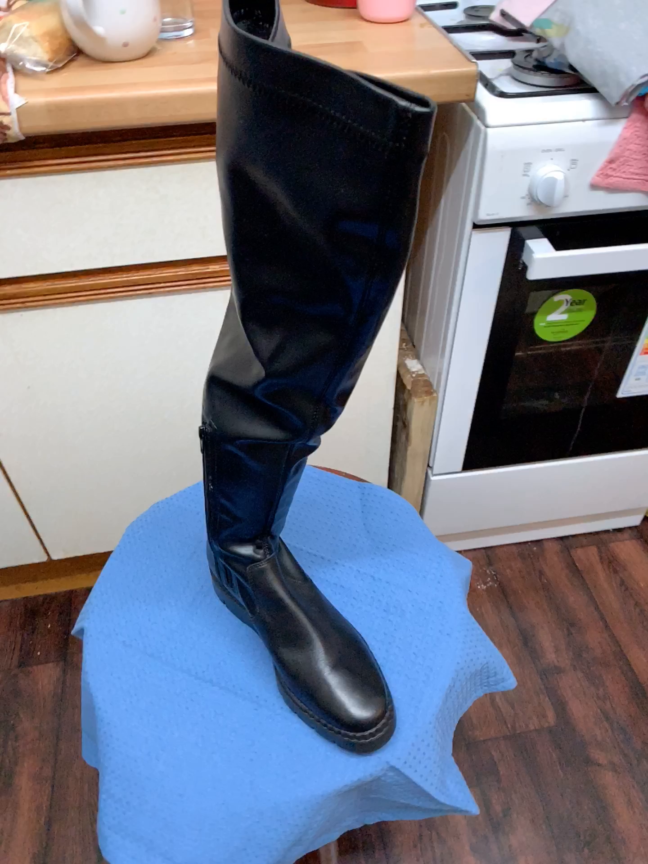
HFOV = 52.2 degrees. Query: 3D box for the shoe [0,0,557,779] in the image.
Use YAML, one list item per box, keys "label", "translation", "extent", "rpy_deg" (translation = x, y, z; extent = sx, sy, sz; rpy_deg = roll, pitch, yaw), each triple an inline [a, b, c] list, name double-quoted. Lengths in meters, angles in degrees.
- label: "shoe"
  translation: [-0.037, 0.004, 0.476]
  extent: [0.107, 0.535, 0.272]
  rpy_deg: [-31, 50, -27]
